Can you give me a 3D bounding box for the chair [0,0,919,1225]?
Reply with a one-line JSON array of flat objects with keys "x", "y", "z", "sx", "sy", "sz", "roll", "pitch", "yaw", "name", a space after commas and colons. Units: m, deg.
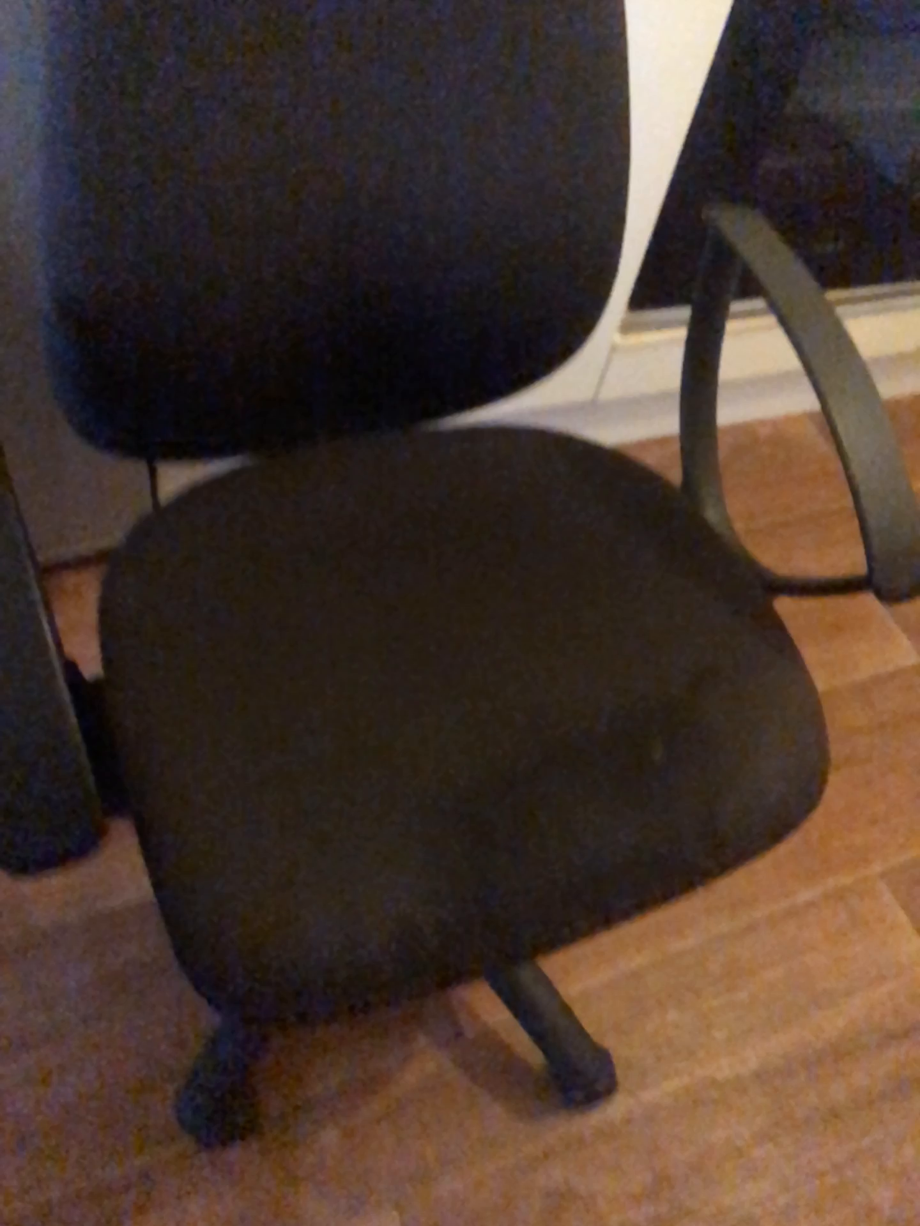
[{"x": 0.002, "y": -0.018, "z": 0.757, "sx": 0.638, "sy": 0.882, "sz": 0.644, "roll": -14, "pitch": 57, "yaw": -22, "name": "chair"}]
